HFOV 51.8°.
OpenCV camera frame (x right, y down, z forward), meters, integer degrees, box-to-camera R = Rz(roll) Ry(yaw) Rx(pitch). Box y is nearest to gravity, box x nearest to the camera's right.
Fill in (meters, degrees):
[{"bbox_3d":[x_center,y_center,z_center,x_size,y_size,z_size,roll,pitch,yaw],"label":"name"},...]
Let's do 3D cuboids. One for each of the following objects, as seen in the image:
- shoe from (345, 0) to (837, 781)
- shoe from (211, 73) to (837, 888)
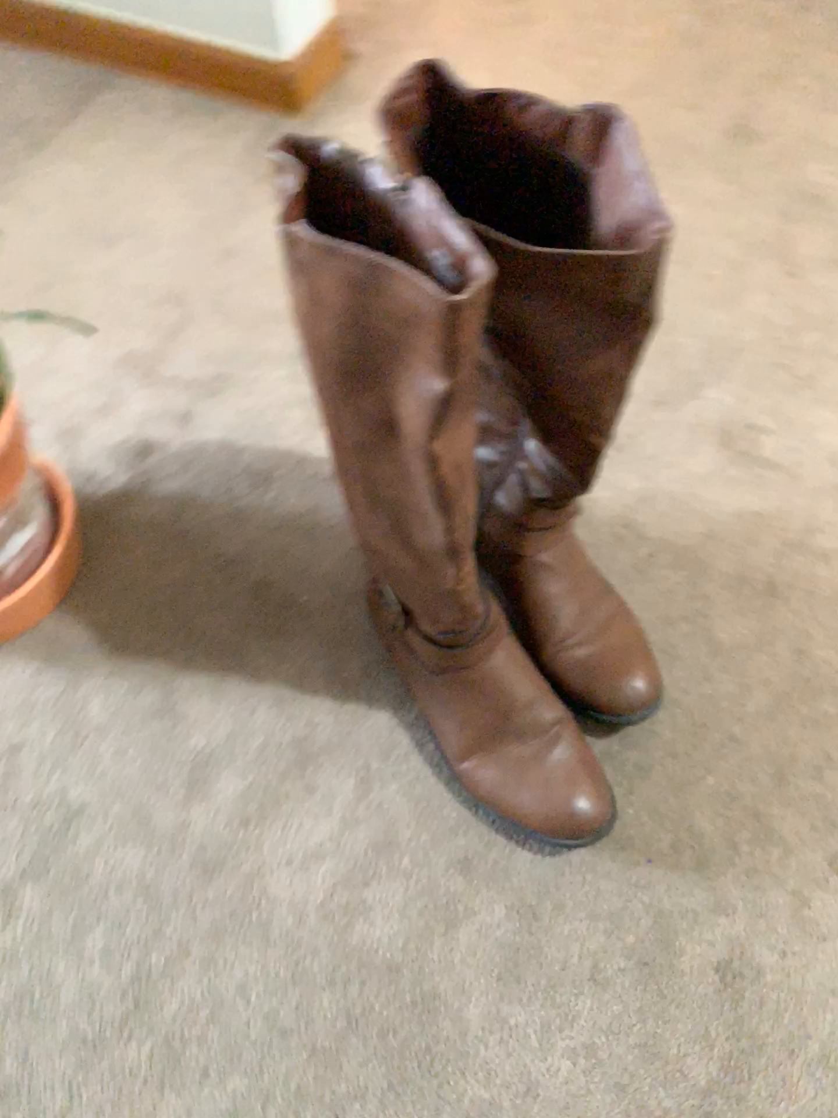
[{"bbox_3d":[0.087,-0.070,0.533,0.120,0.397,0.271,-26,61,-14],"label":"shoe"},{"bbox_3d":[0.040,-0.004,0.469,0.110,0.368,0.261,-32,63,-17],"label":"shoe"}]
